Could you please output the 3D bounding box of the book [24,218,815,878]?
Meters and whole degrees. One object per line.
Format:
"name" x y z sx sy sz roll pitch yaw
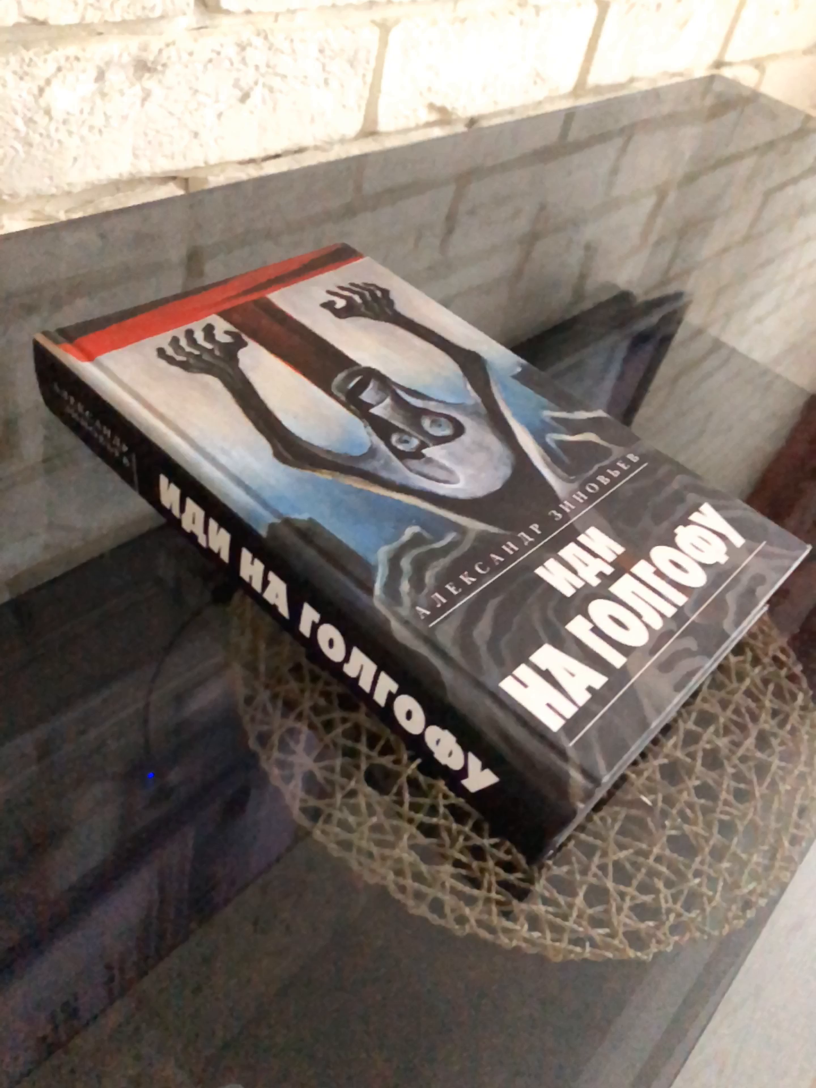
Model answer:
"book" 0.008 -0.025 0.268 0.200 0.030 0.141 39 48 23
